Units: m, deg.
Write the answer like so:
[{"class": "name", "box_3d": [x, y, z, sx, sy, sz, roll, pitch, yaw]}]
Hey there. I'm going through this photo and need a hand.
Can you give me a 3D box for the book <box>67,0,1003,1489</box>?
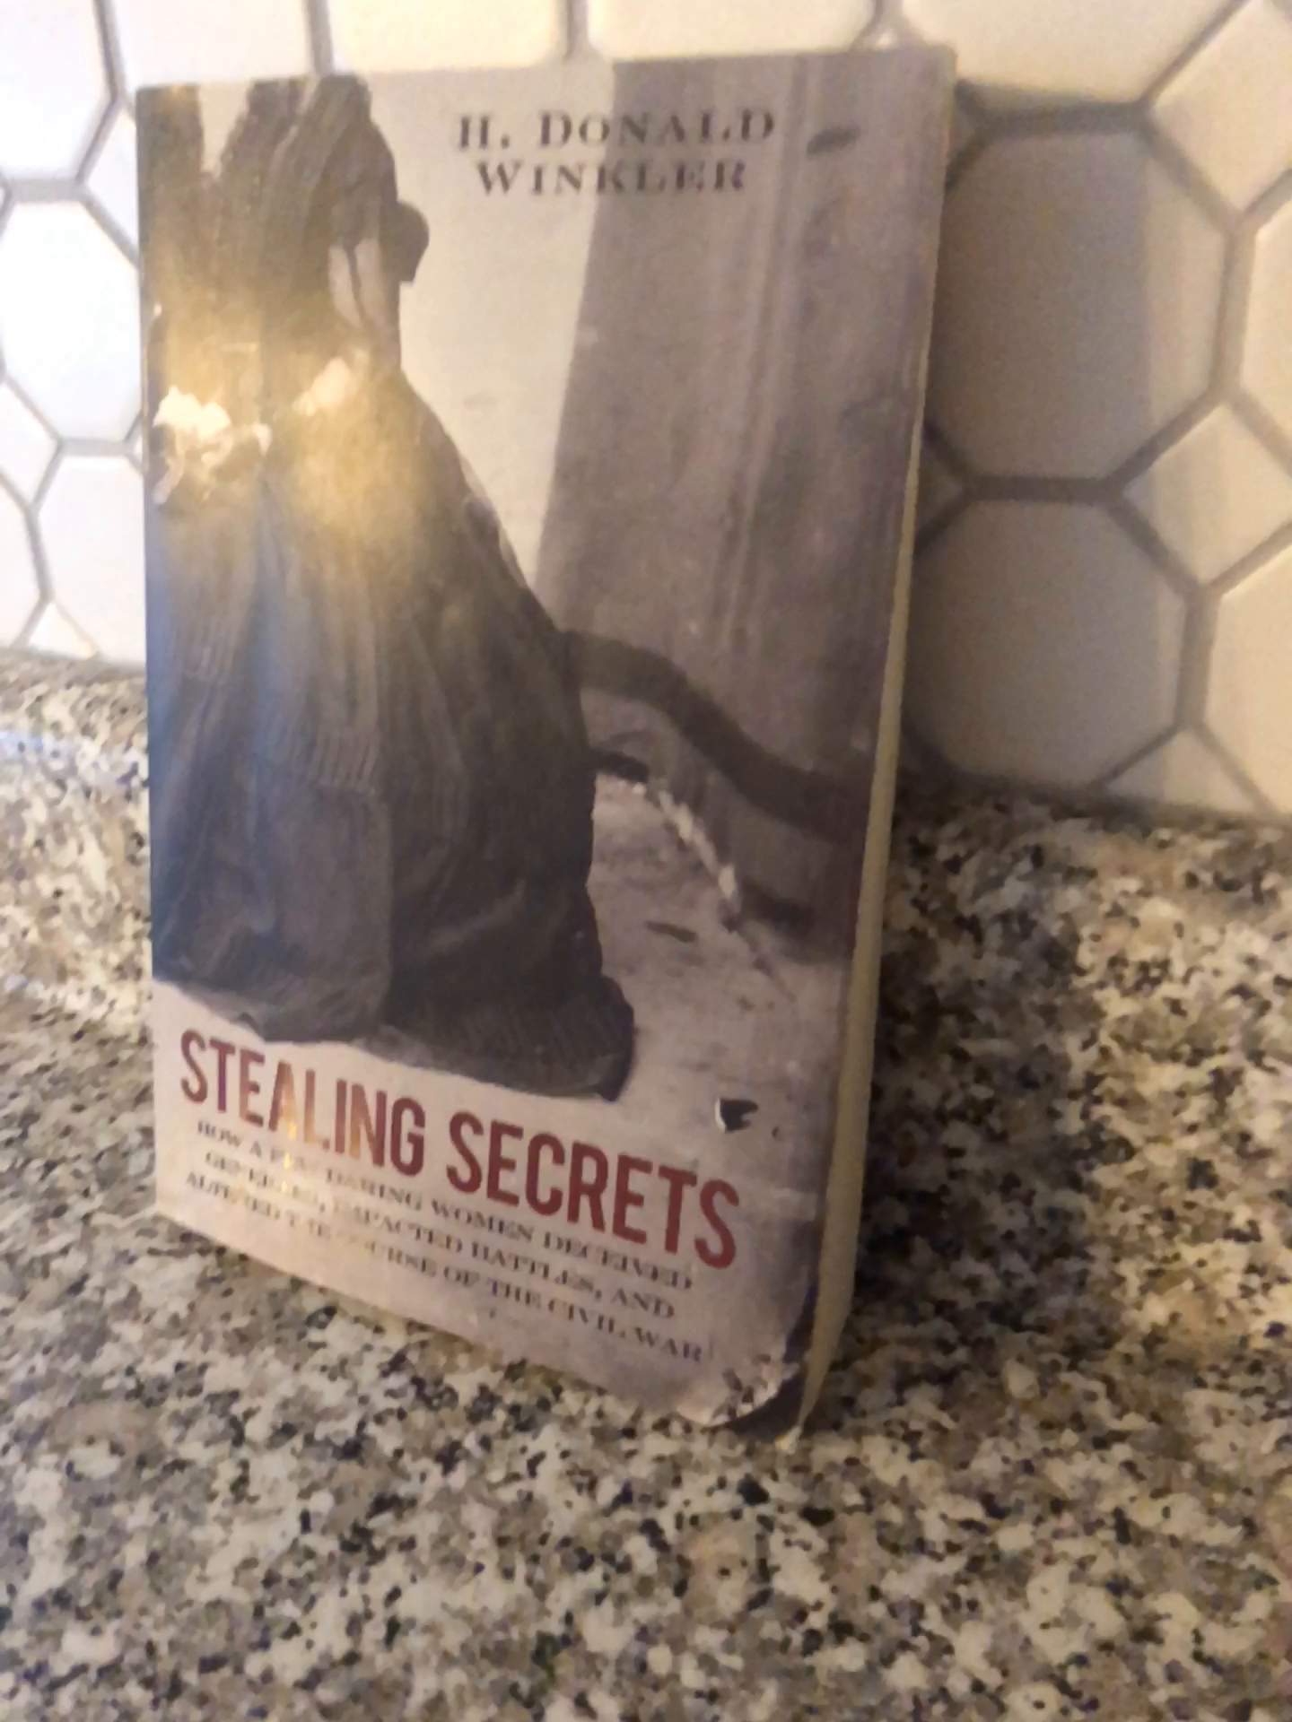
[{"class": "book", "box_3d": [-0.030, -0.021, 0.267, 0.161, 0.225, 0.041, 9, 15, 27]}]
